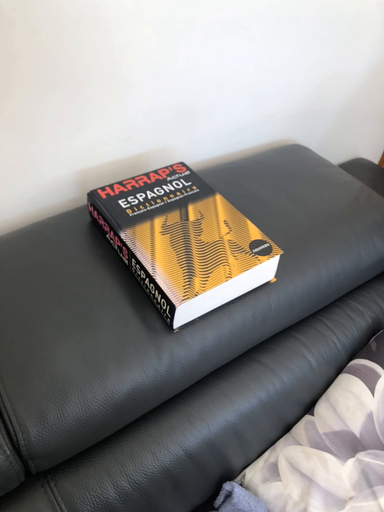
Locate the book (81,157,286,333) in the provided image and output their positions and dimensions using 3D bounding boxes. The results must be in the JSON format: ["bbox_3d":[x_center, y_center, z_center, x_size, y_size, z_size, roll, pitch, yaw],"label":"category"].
[{"bbox_3d":[-0.021,-0.035,0.633,0.186,0.050,0.260,-24,53,-25],"label":"book"}]
